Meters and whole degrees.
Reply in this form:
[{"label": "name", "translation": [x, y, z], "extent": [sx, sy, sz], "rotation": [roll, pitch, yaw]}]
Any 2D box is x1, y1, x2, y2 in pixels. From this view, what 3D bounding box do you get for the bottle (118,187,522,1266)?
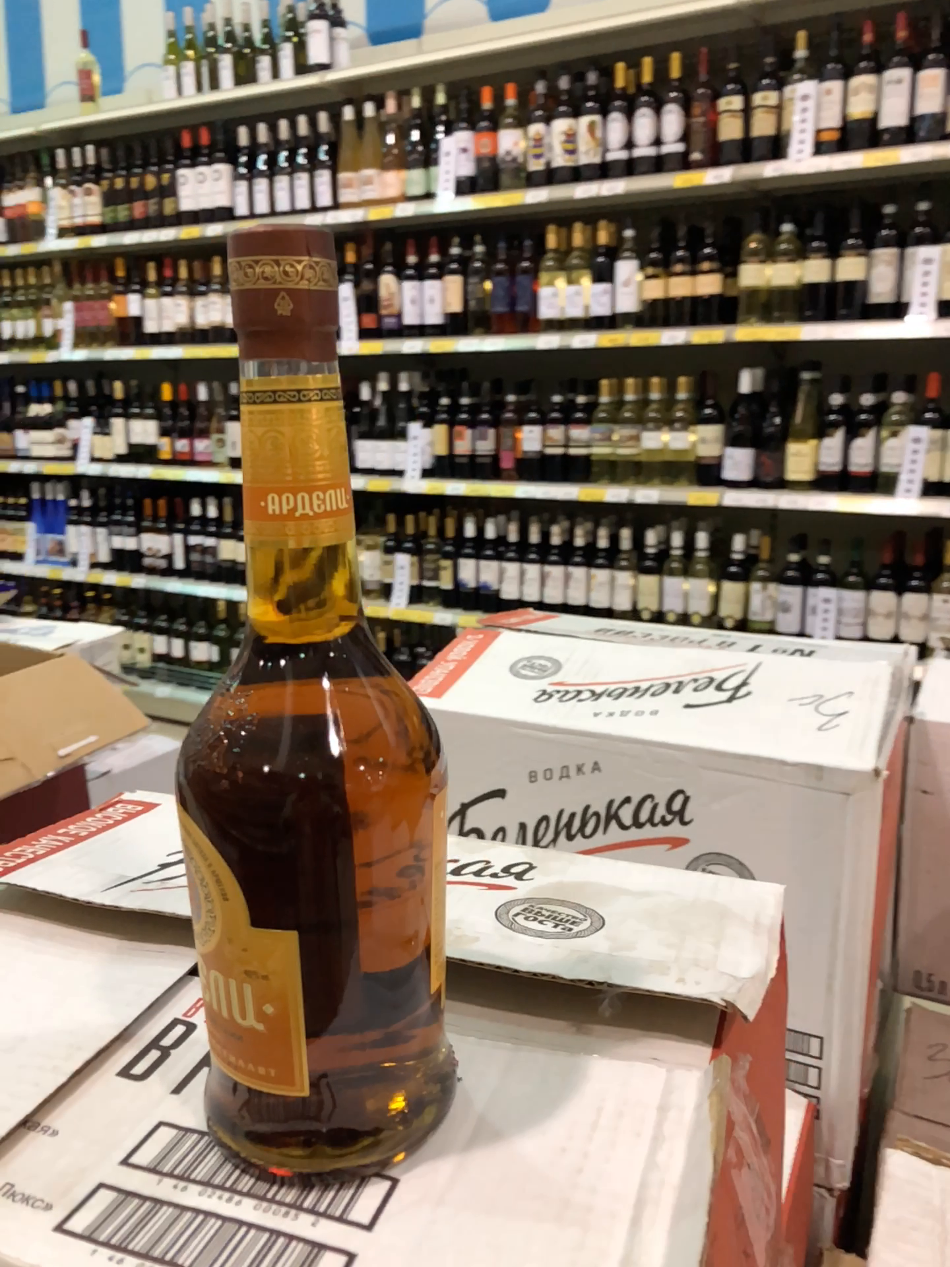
[{"label": "bottle", "translation": [-0.041, 0.024, 0.287], "extent": [0.080, 0.259, 0.080], "rotation": [-1, 14, 0]}]
